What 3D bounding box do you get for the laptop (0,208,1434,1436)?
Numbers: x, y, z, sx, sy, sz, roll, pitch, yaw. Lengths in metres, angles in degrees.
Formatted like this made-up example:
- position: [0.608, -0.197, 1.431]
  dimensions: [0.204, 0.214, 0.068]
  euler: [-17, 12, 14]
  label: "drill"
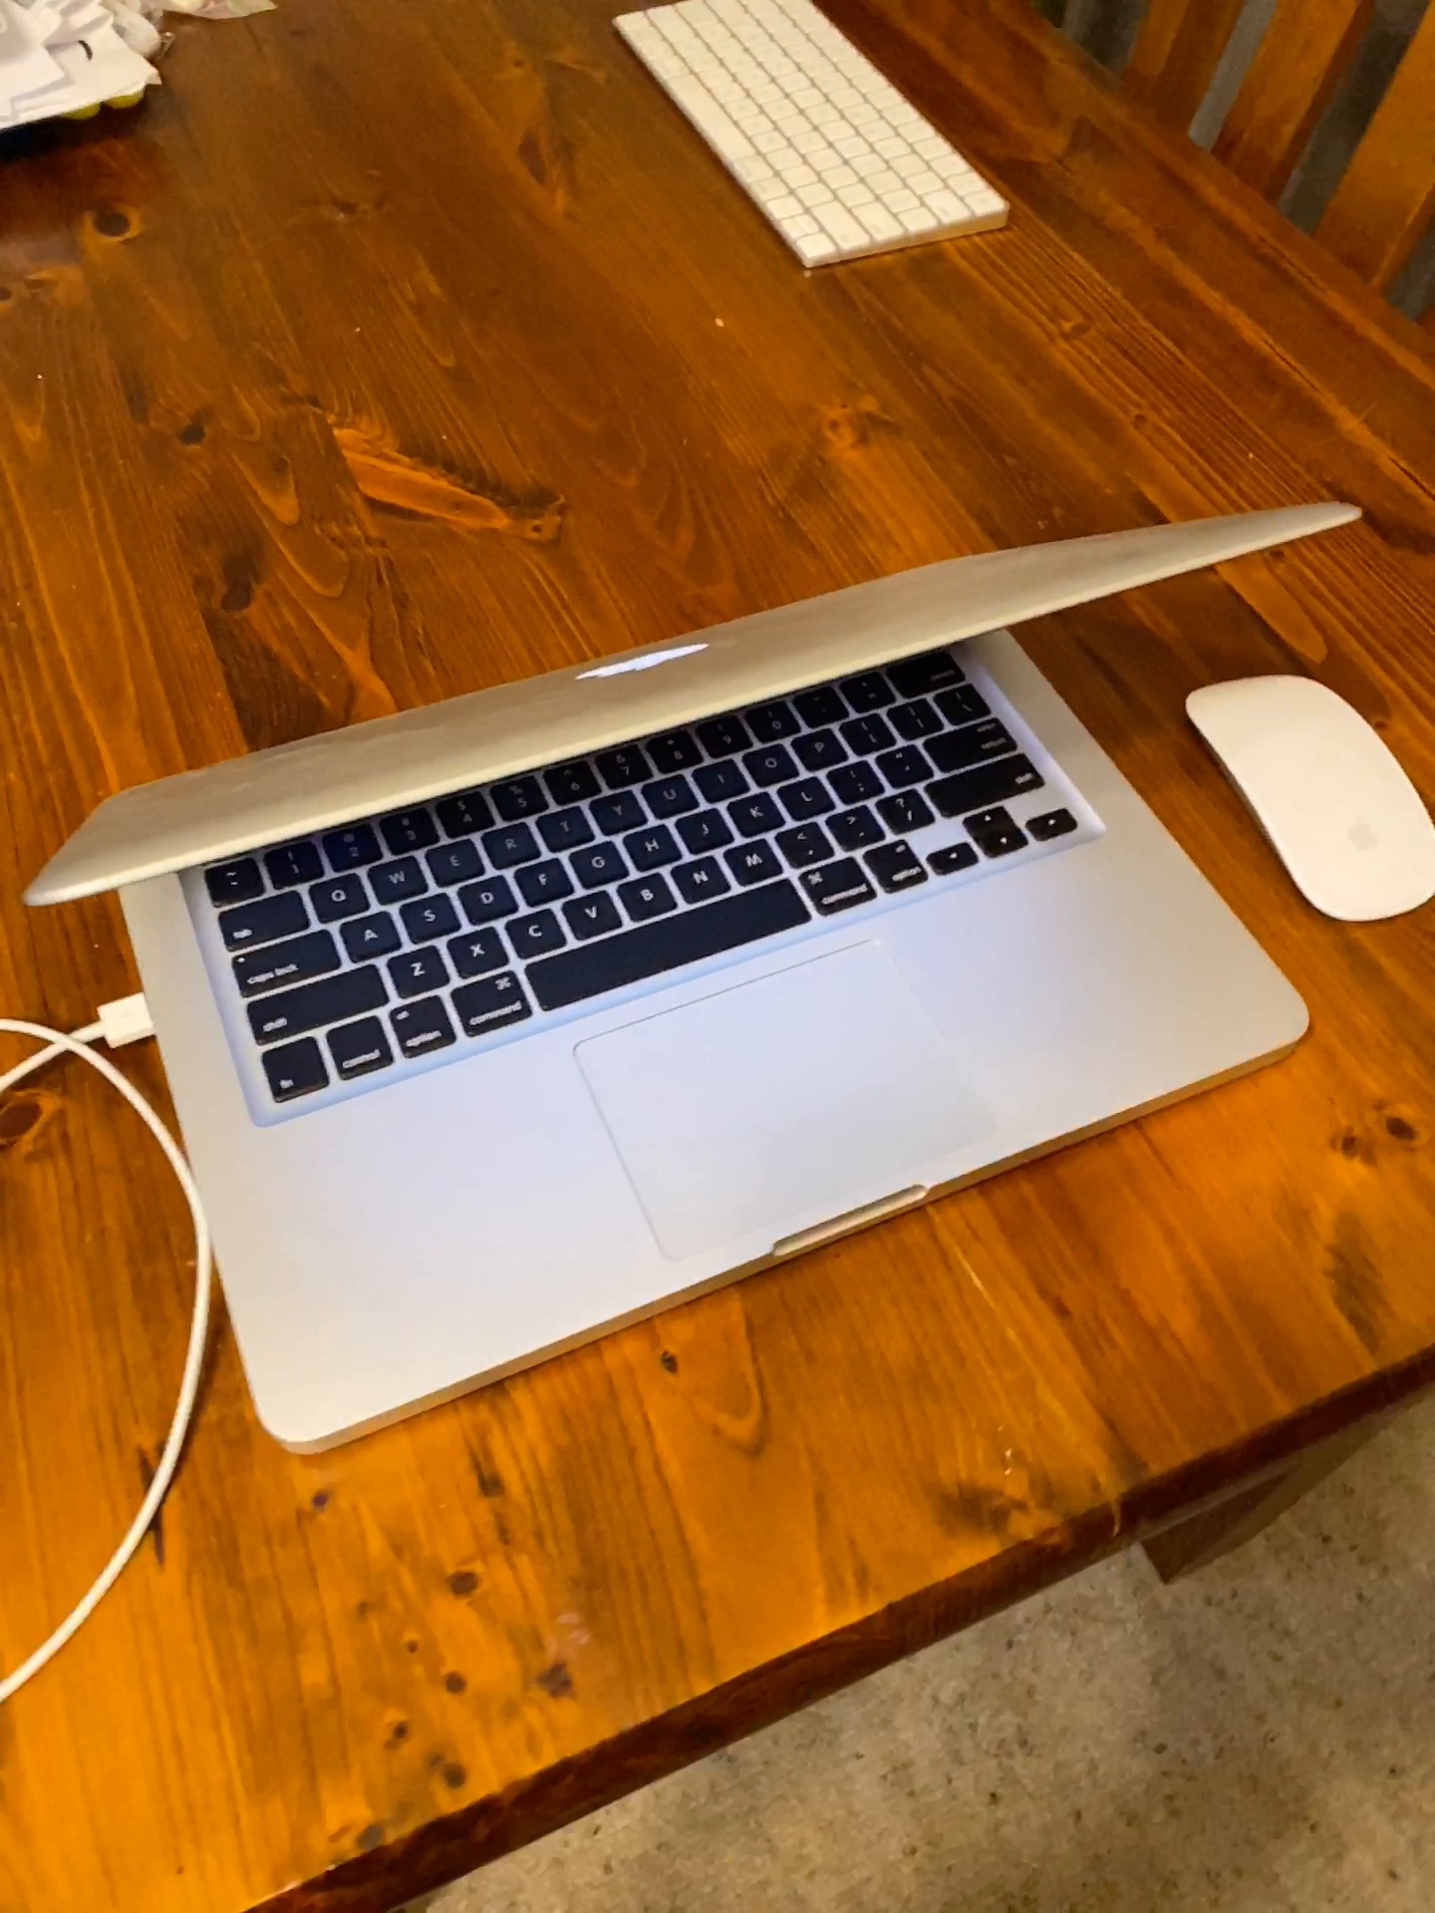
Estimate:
- position: [-0.005, -0.052, 0.395]
  dimensions: [0.311, 0.136, 0.212]
  euler: [-19, 58, -15]
  label: "laptop"
